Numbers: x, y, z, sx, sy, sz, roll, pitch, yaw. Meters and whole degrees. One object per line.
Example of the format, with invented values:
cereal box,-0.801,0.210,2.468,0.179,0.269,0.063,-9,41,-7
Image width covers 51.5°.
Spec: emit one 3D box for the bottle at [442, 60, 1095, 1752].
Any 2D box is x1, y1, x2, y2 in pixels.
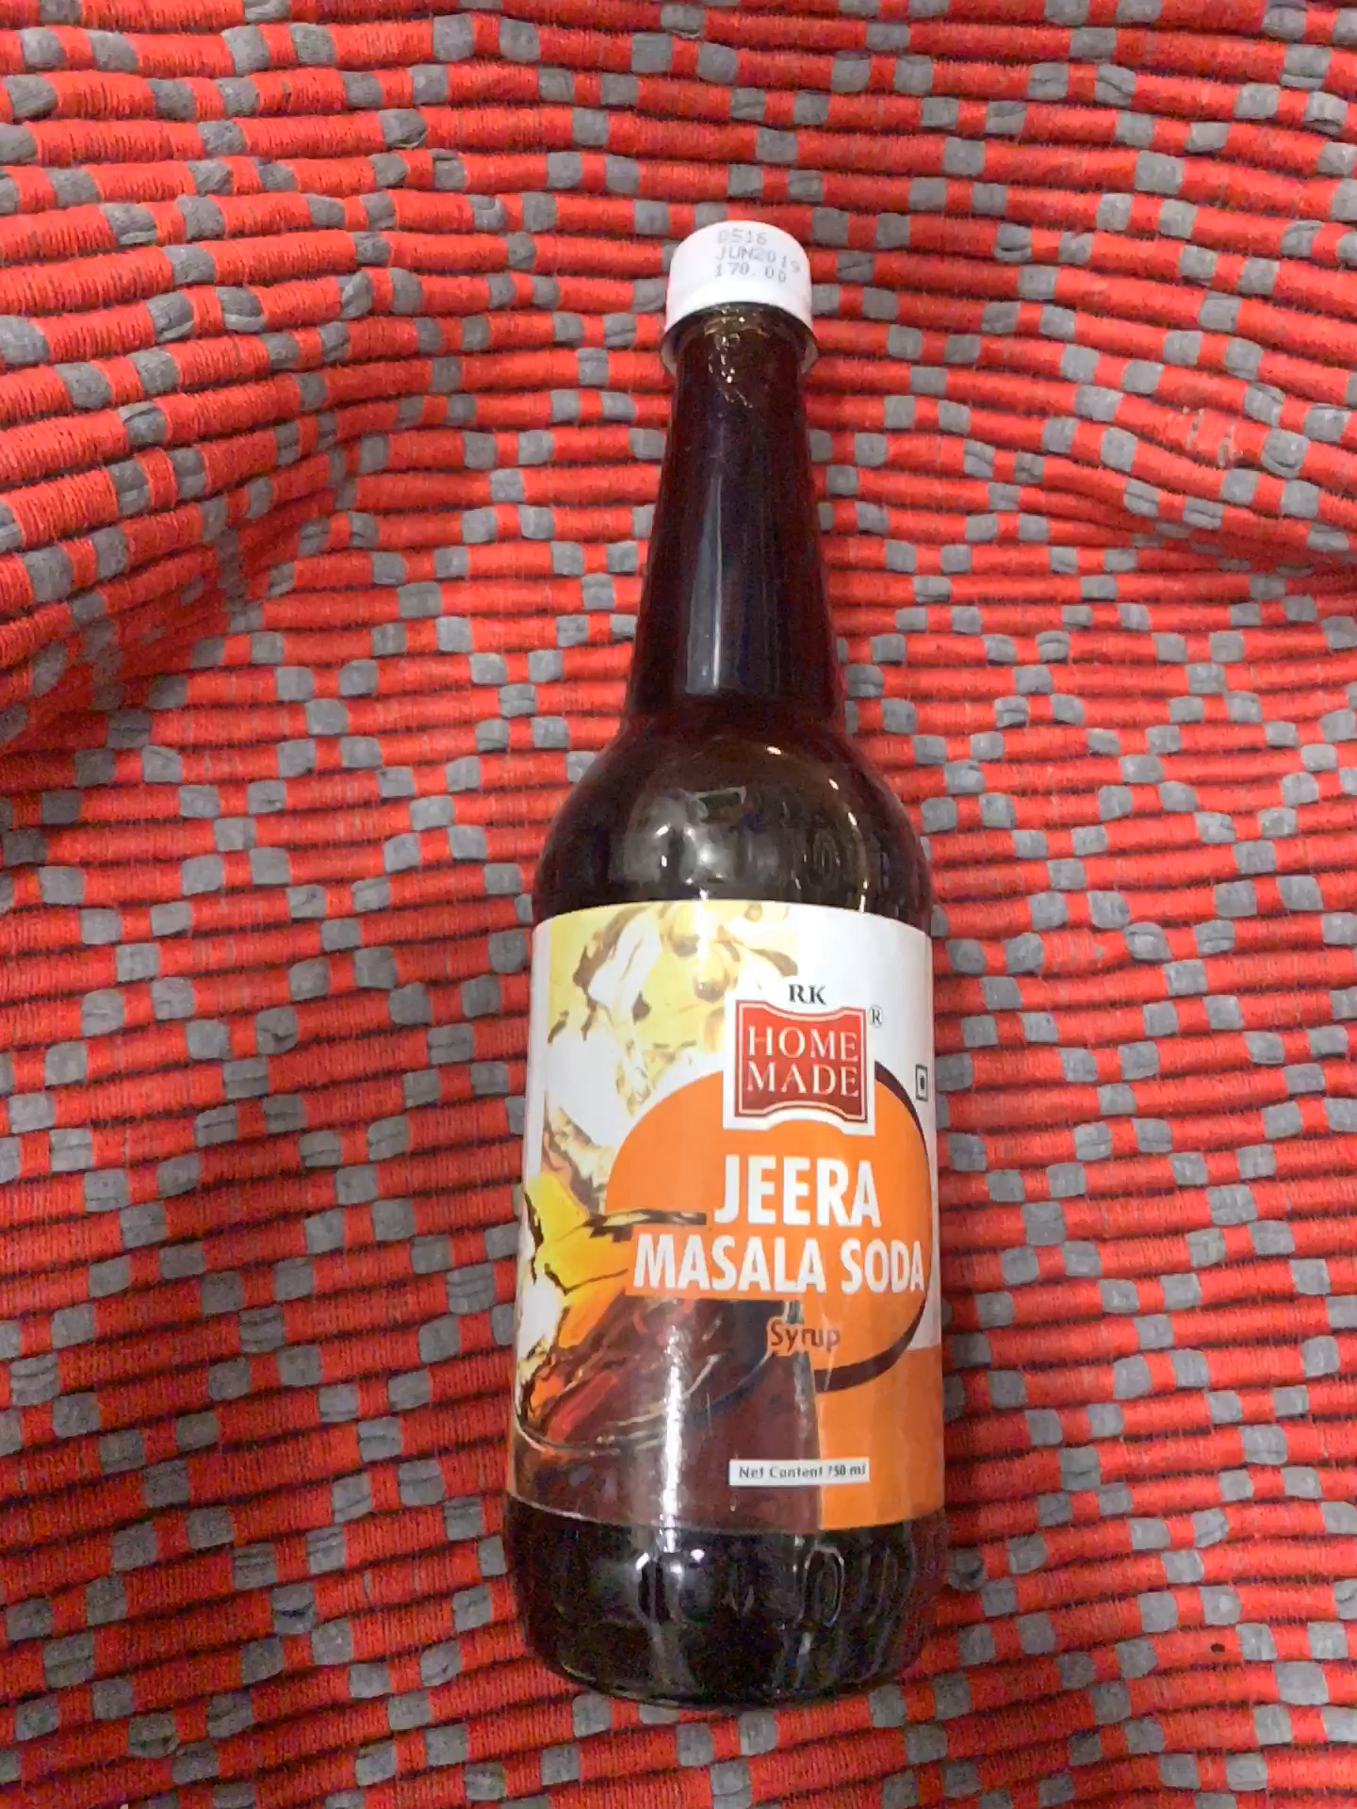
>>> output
bottle,0.011,-0.008,0.252,0.080,0.070,0.260,6,73,-17
